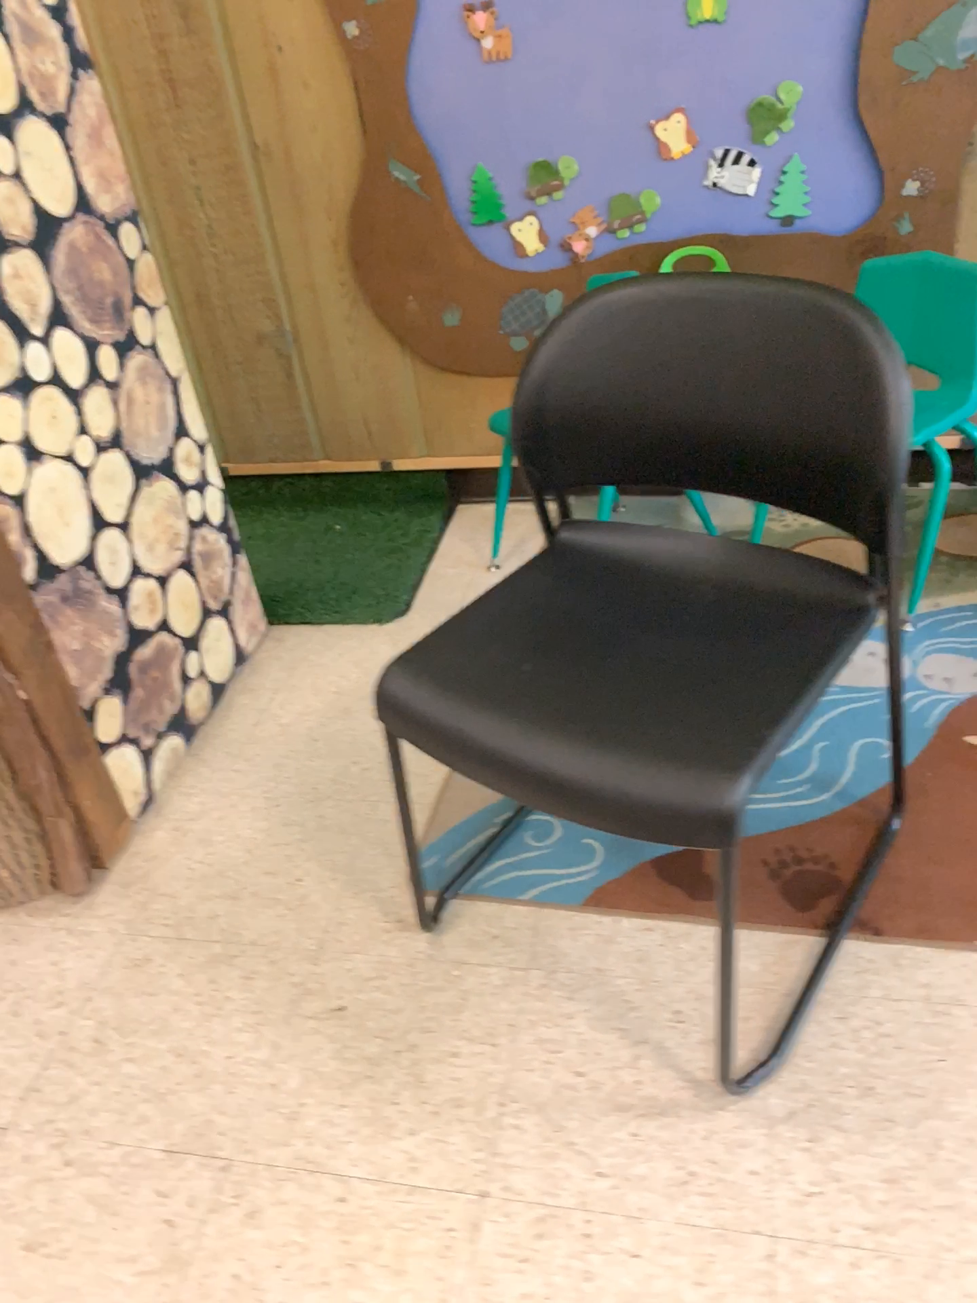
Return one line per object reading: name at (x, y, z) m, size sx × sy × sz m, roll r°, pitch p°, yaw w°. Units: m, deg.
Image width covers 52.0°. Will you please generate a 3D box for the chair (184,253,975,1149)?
chair at (0.149, 0.001, 1.229) m, size 0.592 × 0.785 × 0.572 m, roll 16°, pitch 40°, yaw 34°
